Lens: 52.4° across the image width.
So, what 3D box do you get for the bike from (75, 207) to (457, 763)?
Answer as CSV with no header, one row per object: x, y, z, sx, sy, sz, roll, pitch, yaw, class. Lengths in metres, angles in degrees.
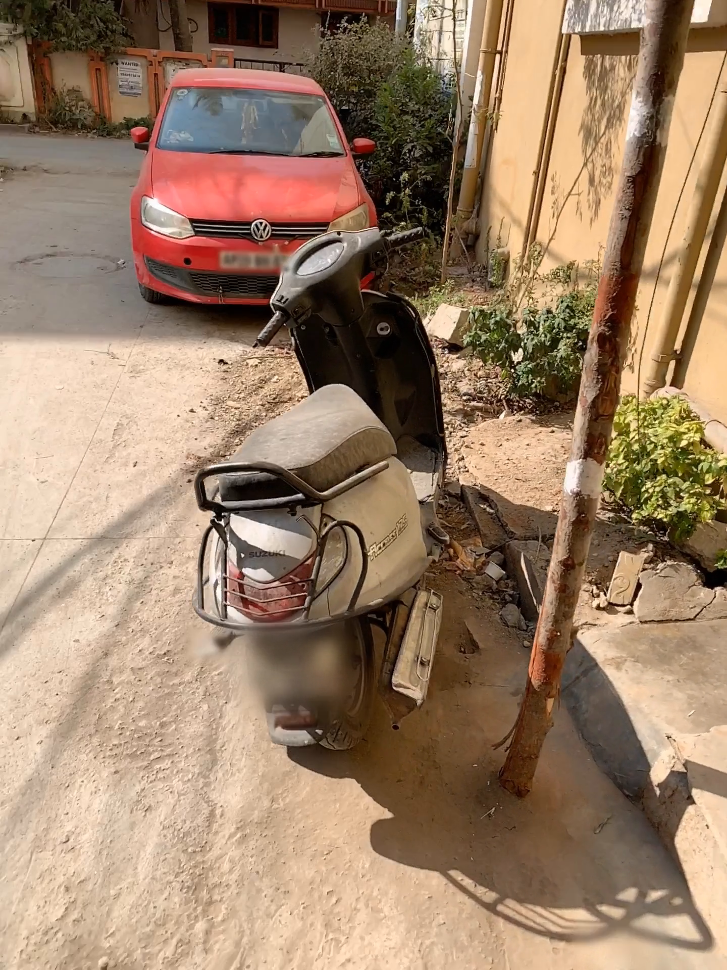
-0.120,-0.169,2.167,0.549,1.001,1.515,8,28,8,bike
